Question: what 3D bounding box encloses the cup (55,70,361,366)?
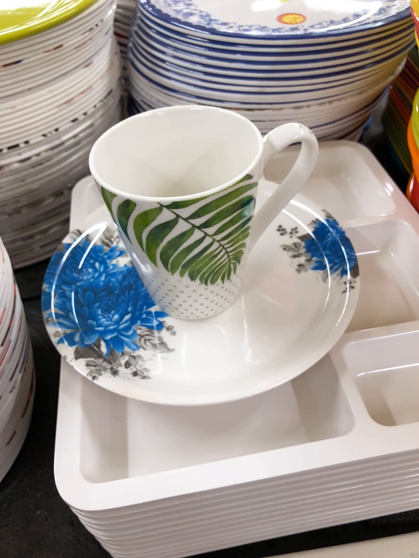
[{"bbox_3d":[0.002,-0.037,0.253,0.120,0.089,0.080,-31,52,-23],"label":"cup"}]
